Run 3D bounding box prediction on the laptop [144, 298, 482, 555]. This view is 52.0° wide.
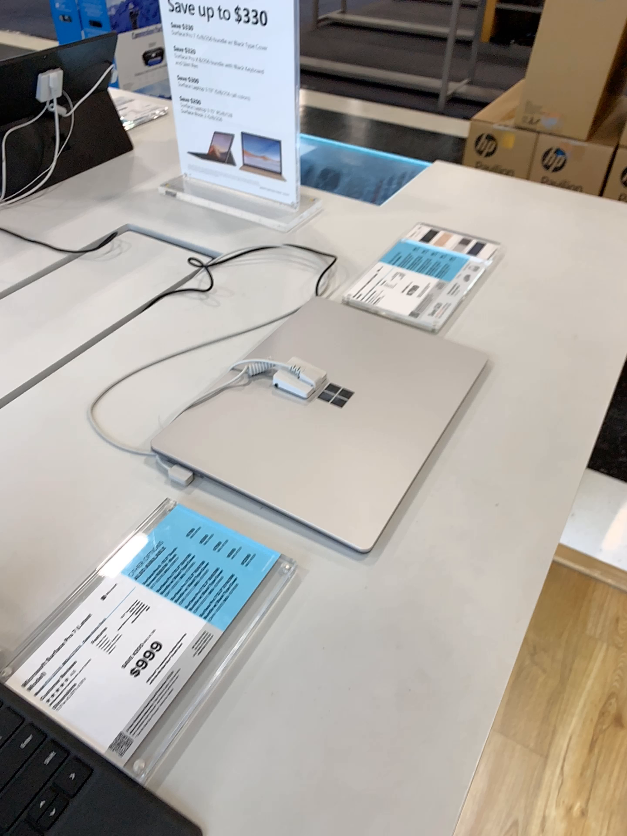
[{"bbox_3d":[0.017,-0.019,0.638,0.220,0.008,0.298,22,44,19],"label":"laptop"}]
